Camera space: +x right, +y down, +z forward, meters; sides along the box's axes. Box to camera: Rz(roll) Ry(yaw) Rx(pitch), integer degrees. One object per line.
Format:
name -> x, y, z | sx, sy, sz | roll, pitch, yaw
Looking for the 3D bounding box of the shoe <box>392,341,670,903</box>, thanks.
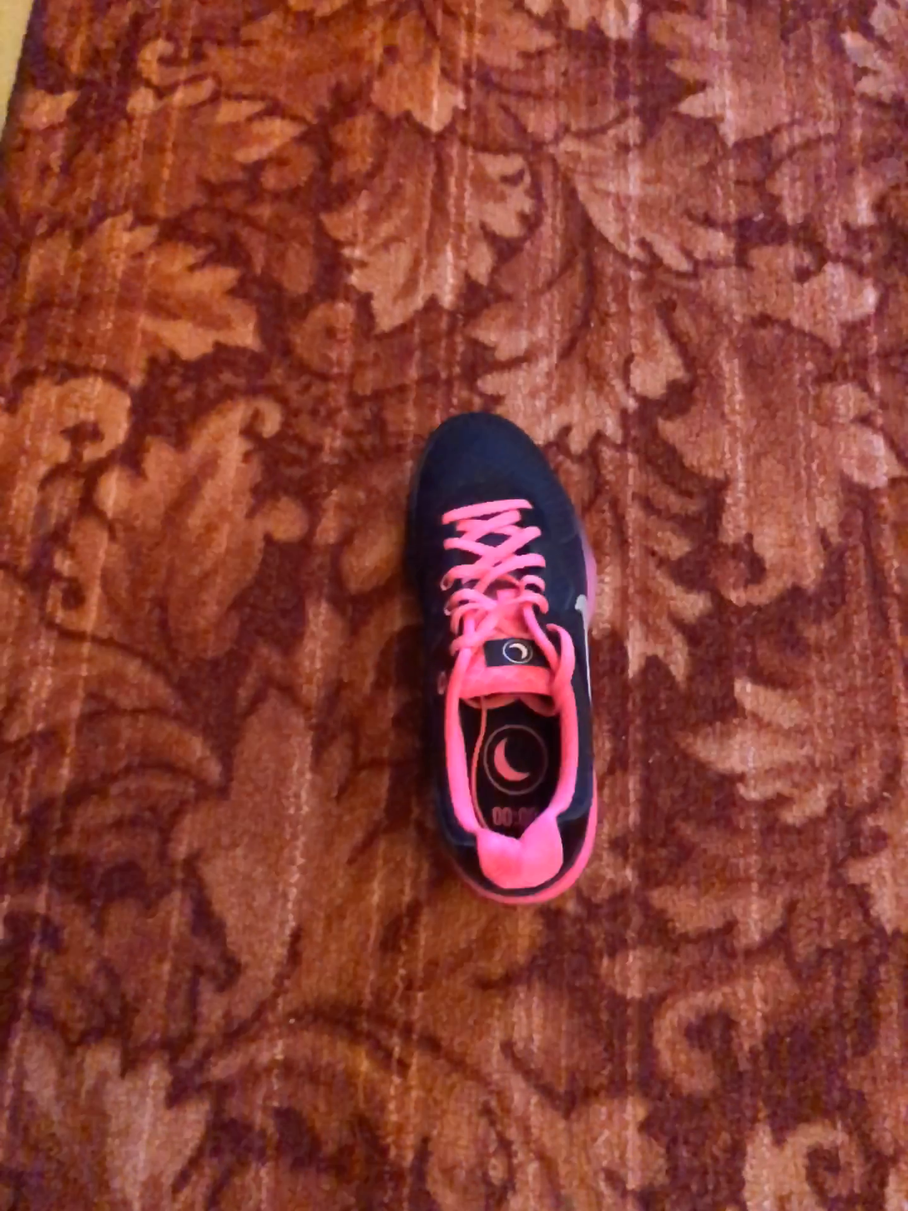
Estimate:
shoe -> 0.031, 0.013, 0.475 | 0.100, 0.110, 0.240 | -4, 73, 3
